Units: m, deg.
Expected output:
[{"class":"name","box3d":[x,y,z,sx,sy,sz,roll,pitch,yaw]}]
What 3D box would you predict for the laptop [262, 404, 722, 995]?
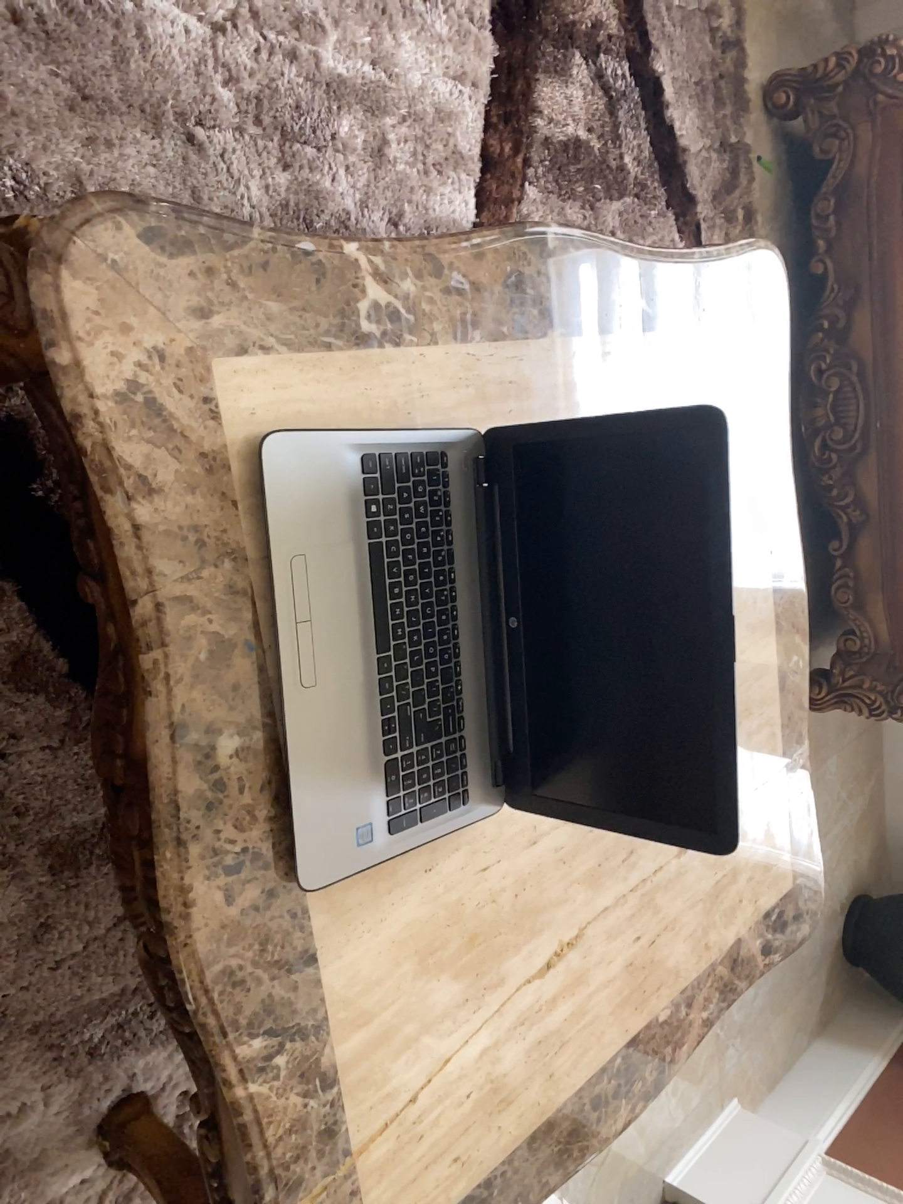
[{"class":"laptop","box3d":[0.042,0.044,0.740,0.266,0.240,0.371,-12,101,-45]}]
